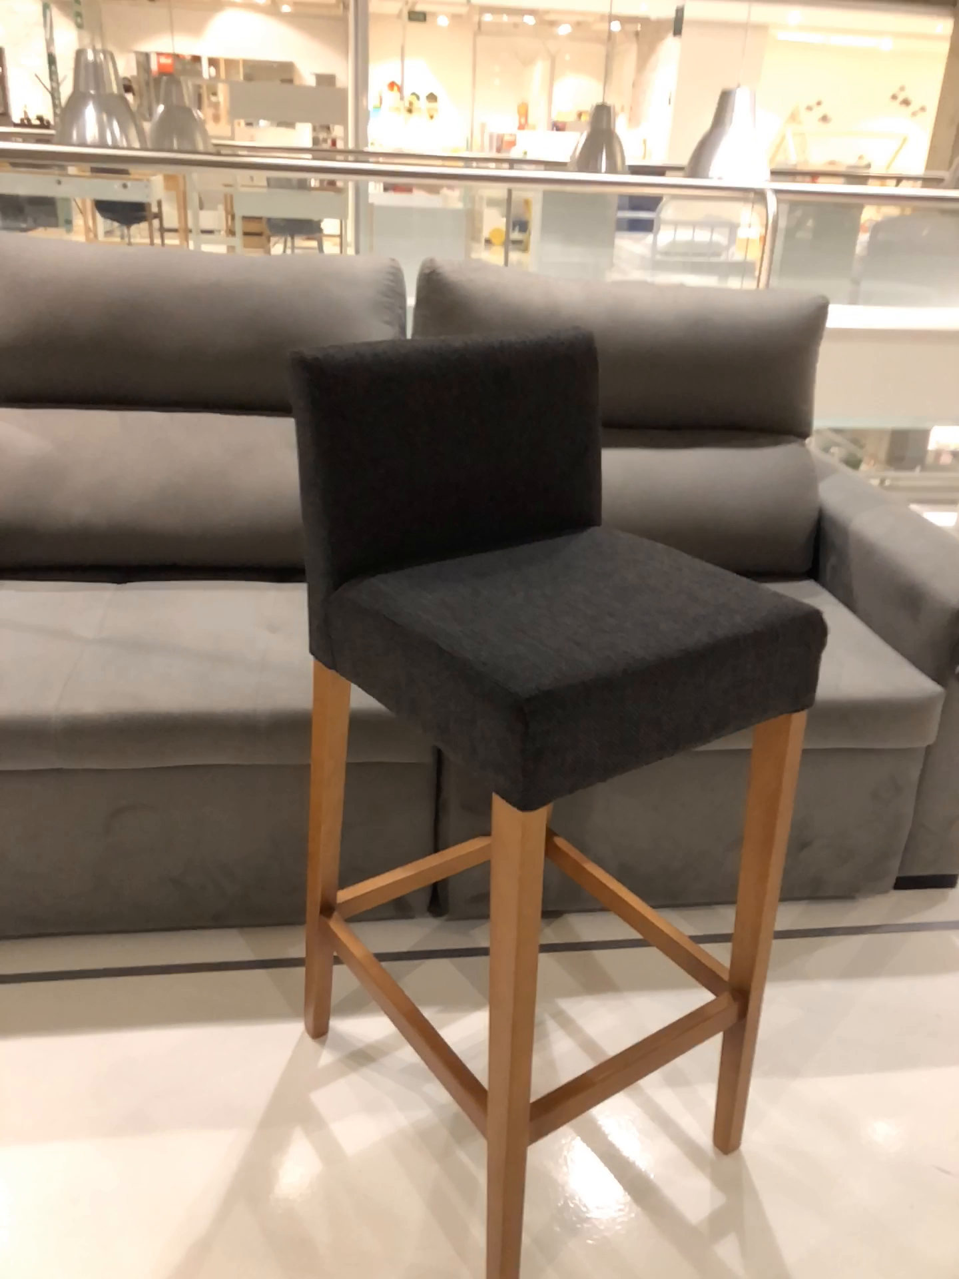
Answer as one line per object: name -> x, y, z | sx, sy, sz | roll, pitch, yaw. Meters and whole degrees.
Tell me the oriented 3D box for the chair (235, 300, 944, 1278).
chair -> 0.055, 0.139, 1.254 | 0.451, 0.973, 0.583 | -13, 27, -34
